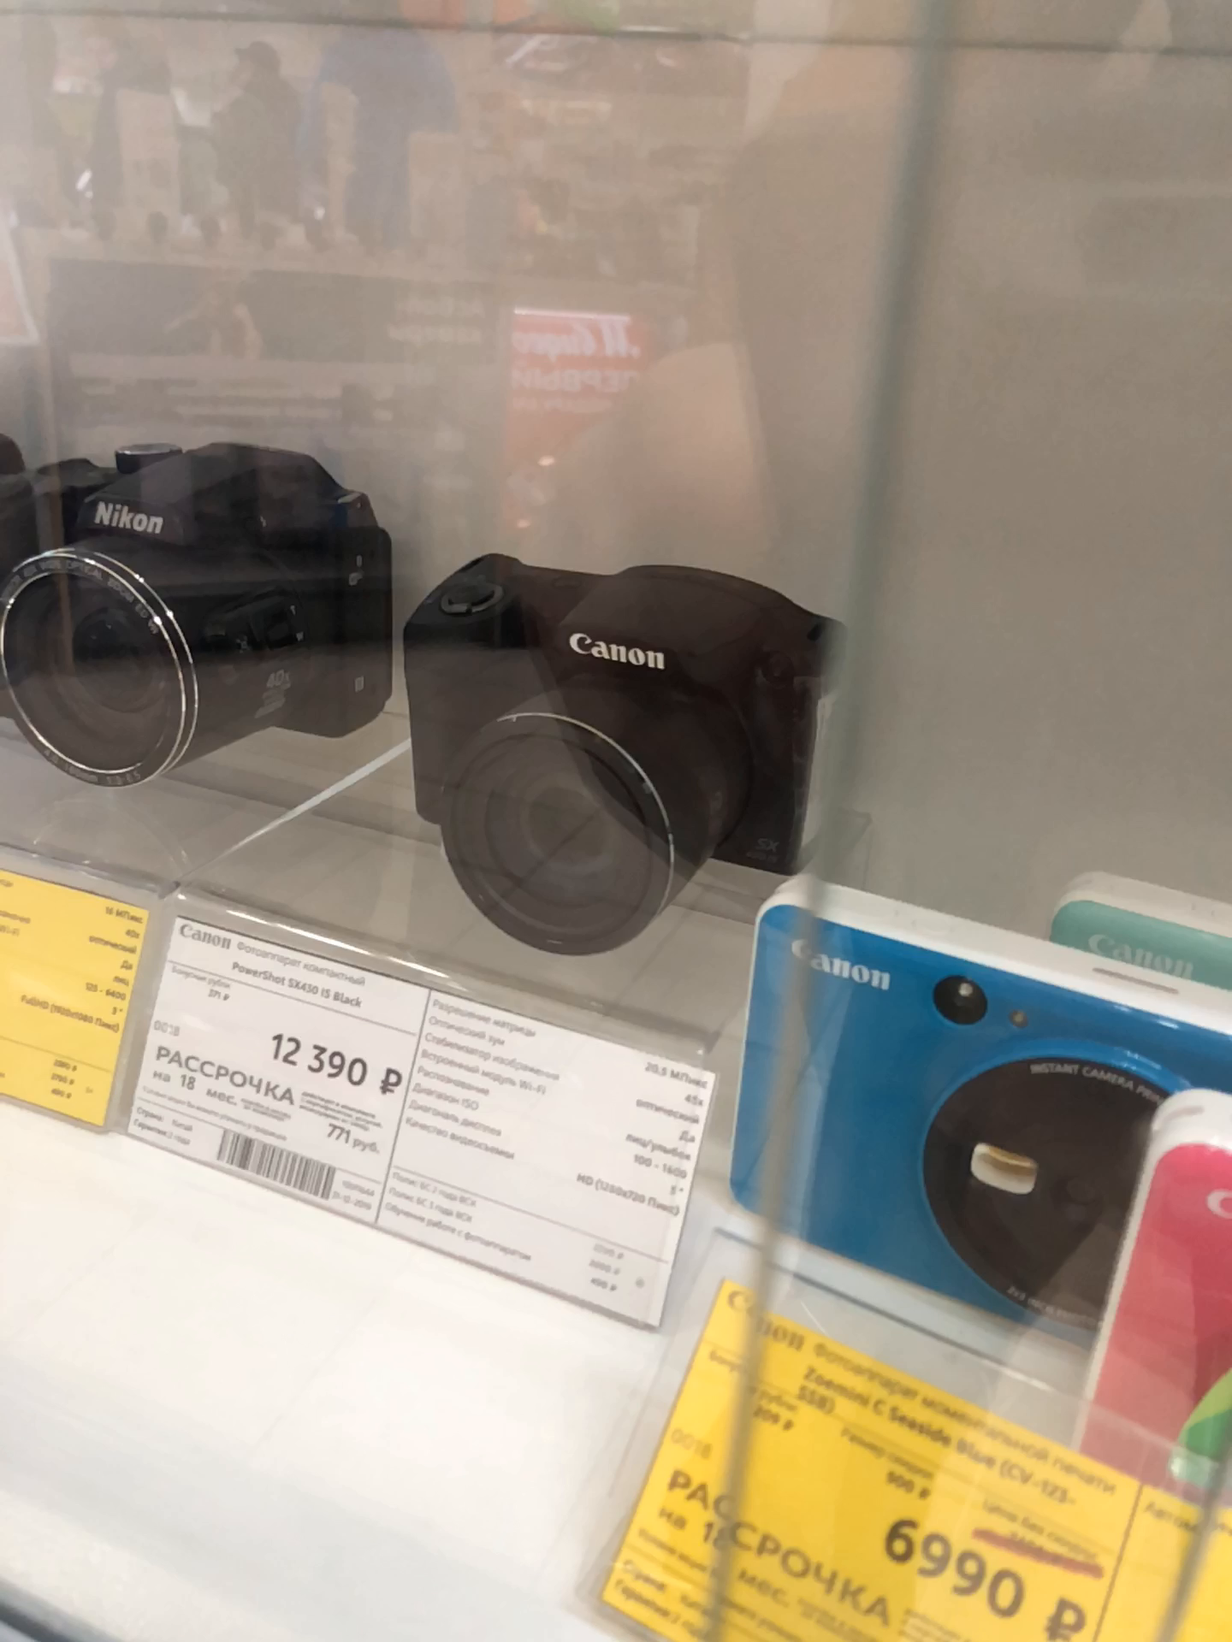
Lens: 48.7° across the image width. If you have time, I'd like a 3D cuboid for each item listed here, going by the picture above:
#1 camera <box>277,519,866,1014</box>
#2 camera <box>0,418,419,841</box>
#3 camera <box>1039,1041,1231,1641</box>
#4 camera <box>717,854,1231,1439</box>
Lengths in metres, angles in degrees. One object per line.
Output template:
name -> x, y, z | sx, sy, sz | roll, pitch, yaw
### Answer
camera -> -0.007, -0.021, 0.317 | 0.100, 0.070, 0.093 | 14, 26, 22
camera -> -0.119, -0.057, 0.355 | 0.100, 0.073, 0.093 | 14, 26, 22
camera -> 0.132, 0.088, 0.202 | 0.118, 0.073, 0.028 | 15, 27, 24
camera -> 0.082, 0.059, 0.266 | 0.118, 0.073, 0.028 | 15, 27, 24
